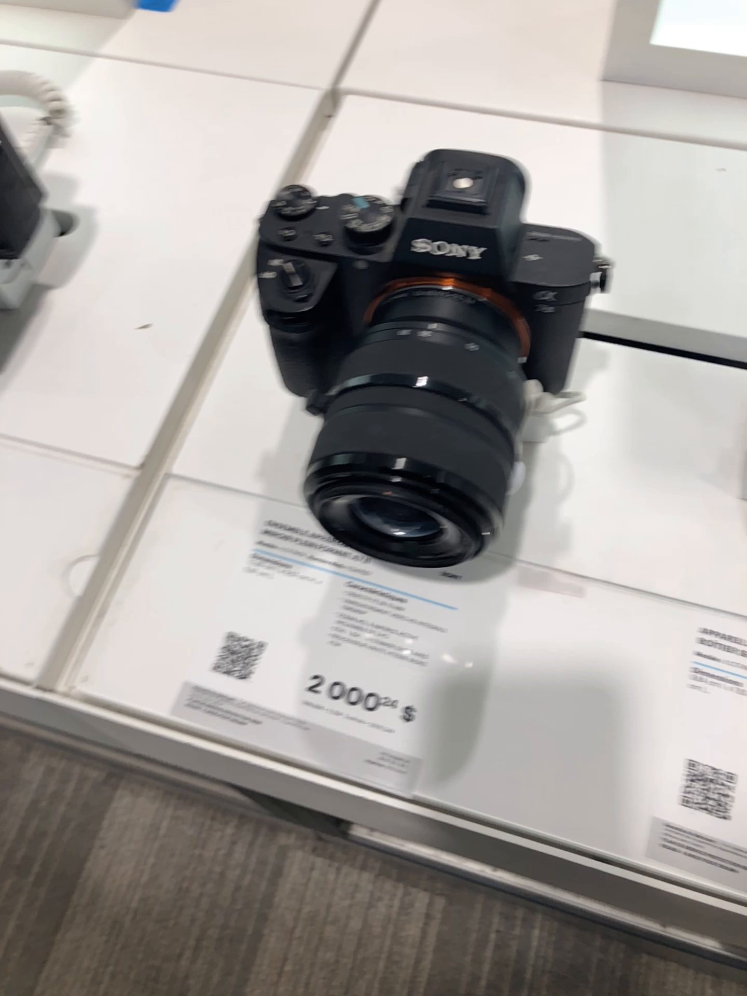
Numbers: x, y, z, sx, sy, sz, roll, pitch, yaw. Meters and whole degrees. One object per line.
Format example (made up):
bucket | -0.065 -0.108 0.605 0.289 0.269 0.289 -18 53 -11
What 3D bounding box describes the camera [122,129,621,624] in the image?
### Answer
camera | 0.007 -0.045 0.314 0.134 0.100 0.131 13 63 9
